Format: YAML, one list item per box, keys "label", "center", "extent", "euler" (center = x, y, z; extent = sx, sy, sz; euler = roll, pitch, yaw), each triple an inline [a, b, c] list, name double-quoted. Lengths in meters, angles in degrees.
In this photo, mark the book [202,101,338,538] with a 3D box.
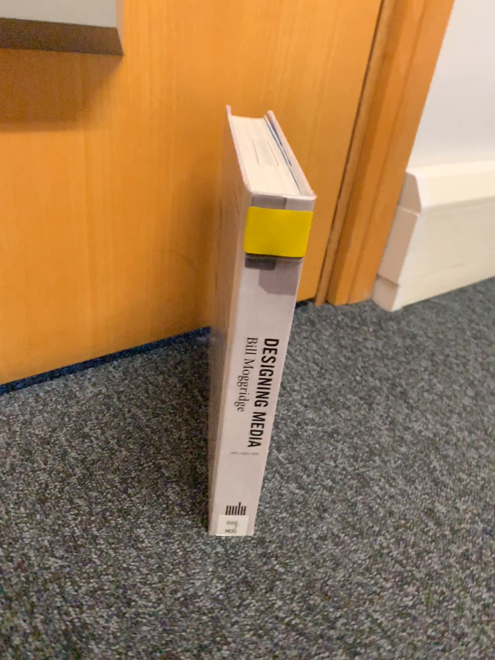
- label: "book"
  center: [-0.003, -0.019, 0.365]
  extent: [0.040, 0.231, 0.212]
  euler: [4, 32, -7]
